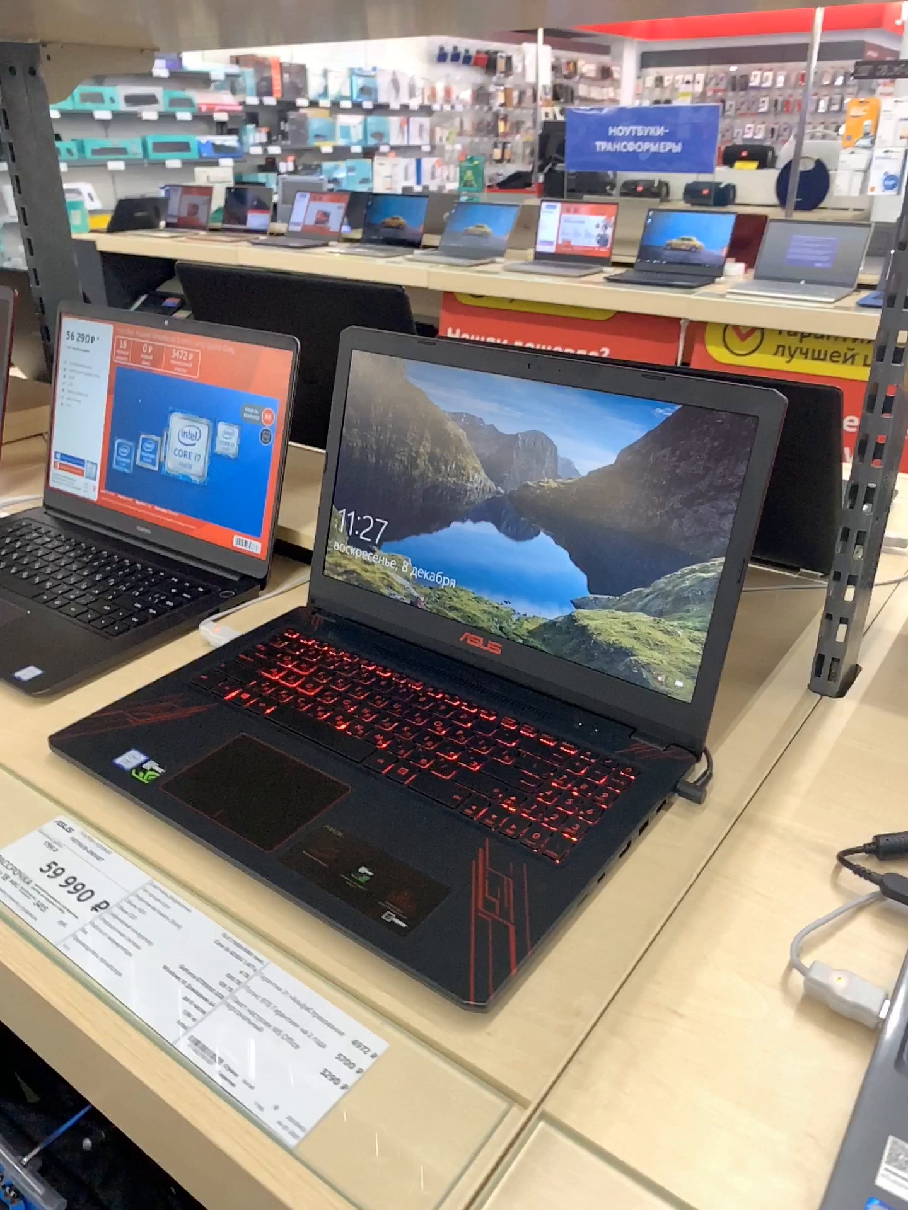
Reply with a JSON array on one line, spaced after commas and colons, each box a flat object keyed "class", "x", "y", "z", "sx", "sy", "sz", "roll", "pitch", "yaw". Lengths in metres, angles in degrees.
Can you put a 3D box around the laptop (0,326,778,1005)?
[{"class": "laptop", "x": -0.043, "y": -0.020, "z": 0.605, "sx": 0.366, "sy": 0.229, "sz": 0.318, "roll": 18, "pitch": 32, "yaw": 32}]
